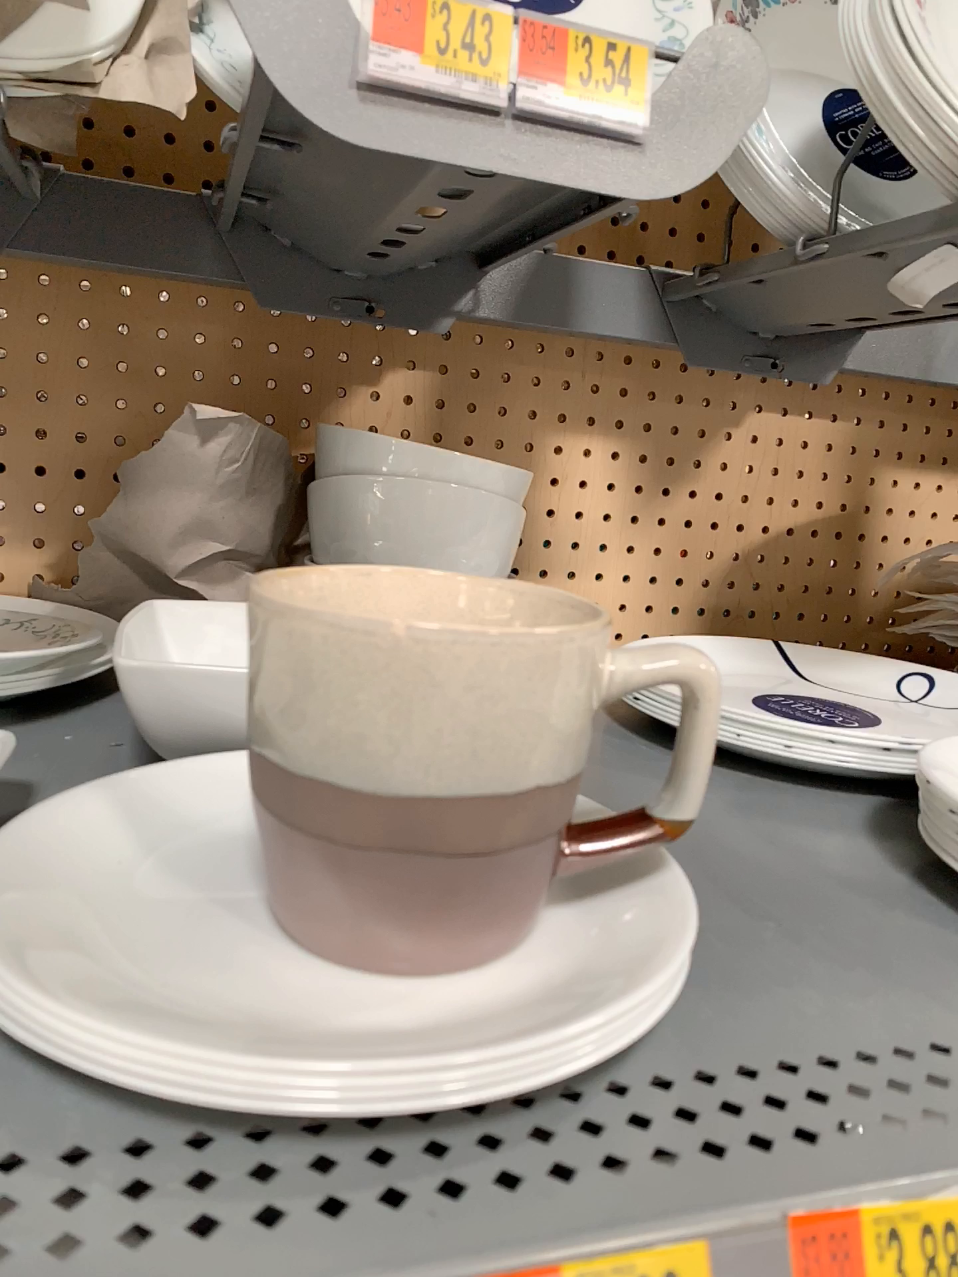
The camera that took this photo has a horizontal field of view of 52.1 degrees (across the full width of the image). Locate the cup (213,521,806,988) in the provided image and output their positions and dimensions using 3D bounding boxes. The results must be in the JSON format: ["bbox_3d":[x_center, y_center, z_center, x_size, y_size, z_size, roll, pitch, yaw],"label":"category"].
[{"bbox_3d":[-0.003,0.024,0.284,0.138,0.096,0.107,2,12,-16],"label":"cup"}]
